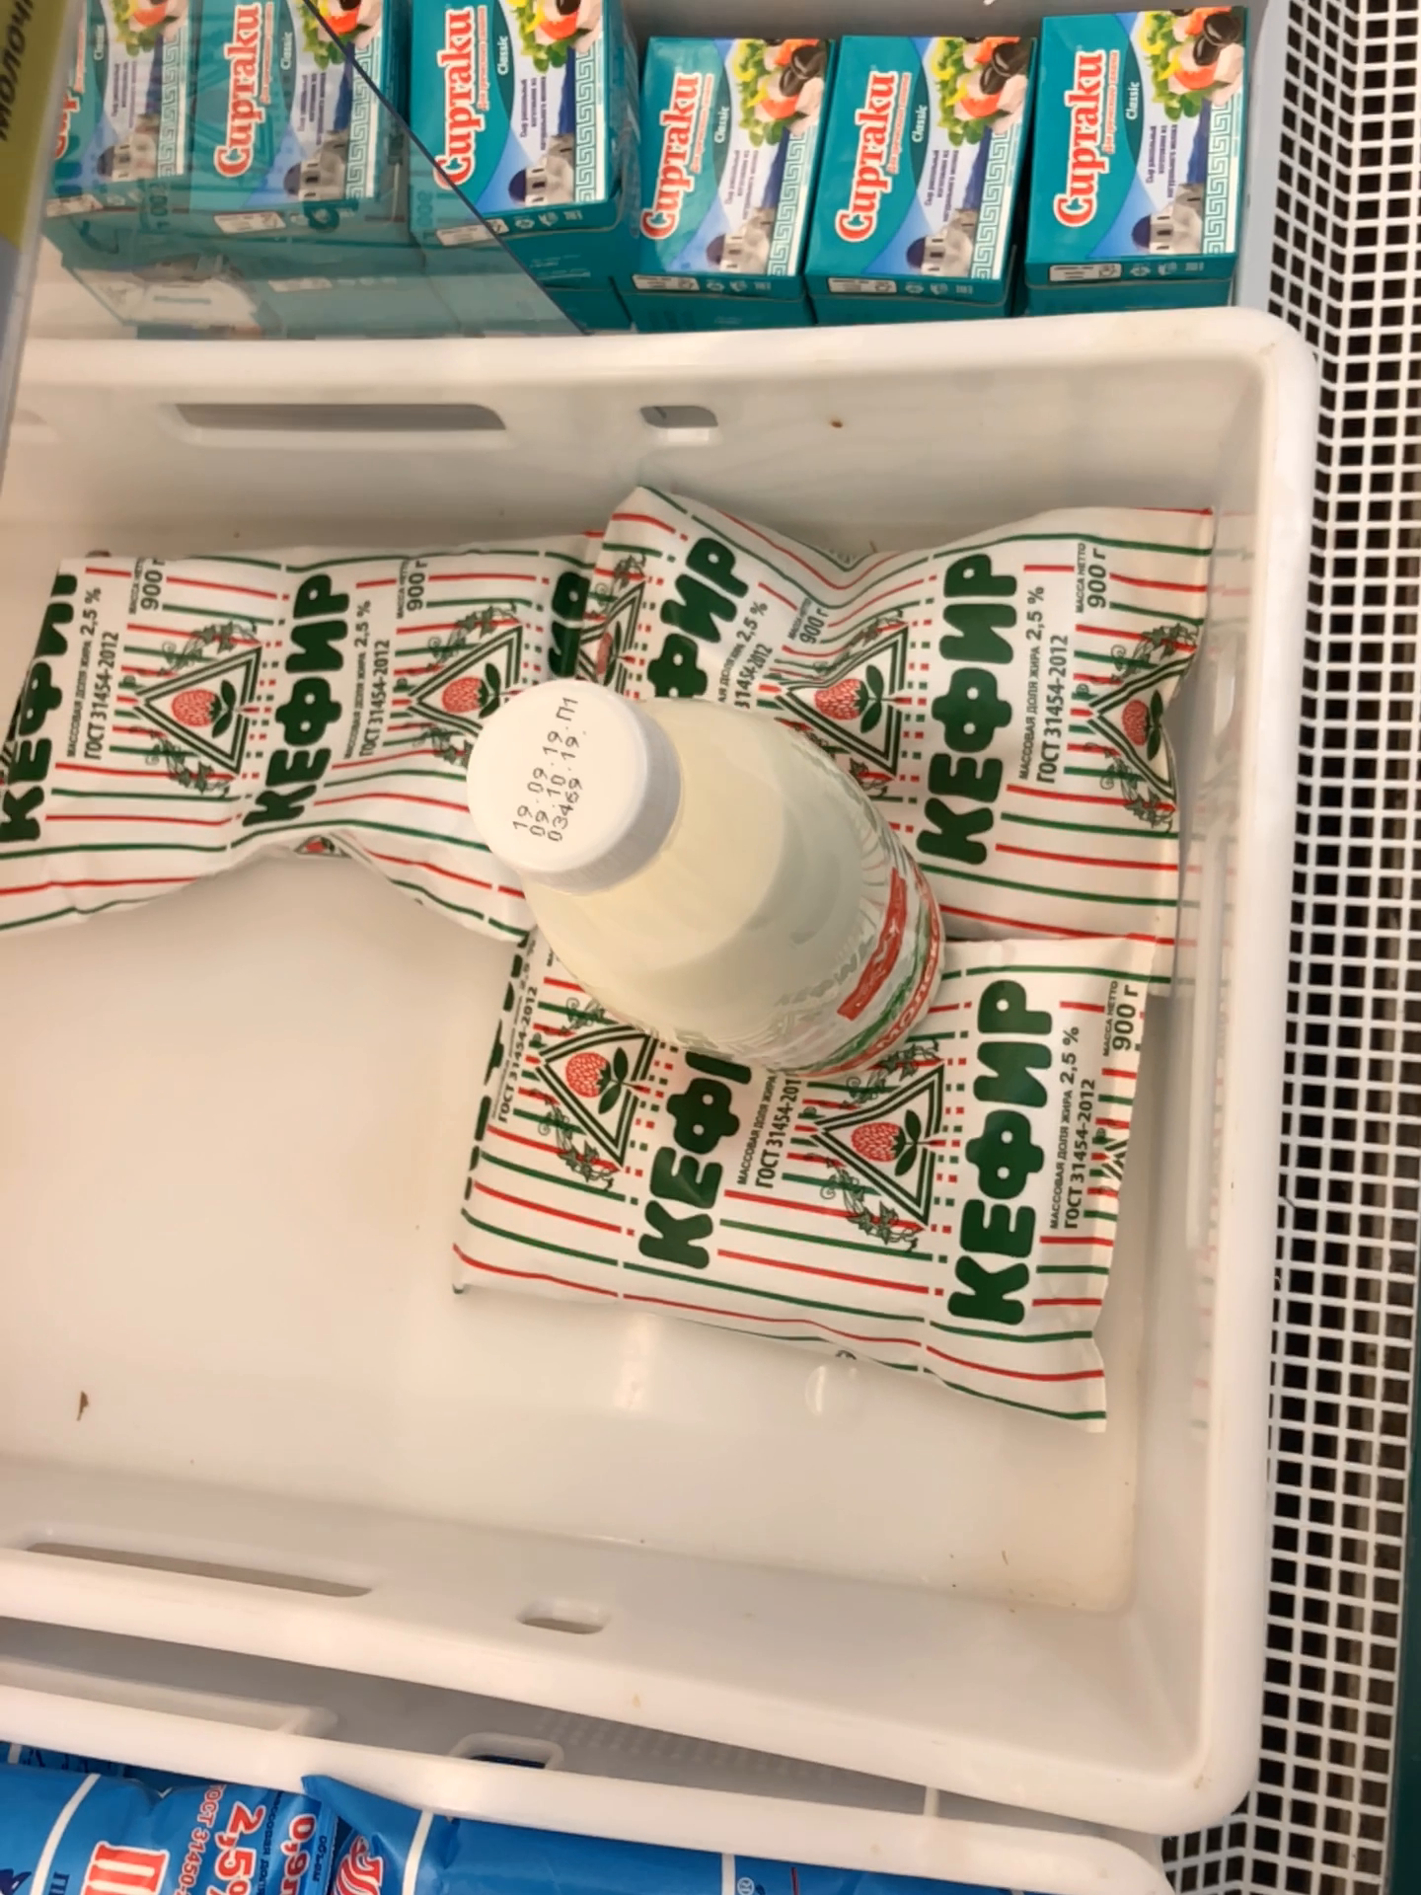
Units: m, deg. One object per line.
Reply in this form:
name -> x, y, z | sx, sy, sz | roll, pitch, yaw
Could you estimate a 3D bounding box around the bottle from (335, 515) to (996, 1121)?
bottle -> 0.008, -0.016, 0.400 | 0.085, 0.217, 0.085 | -3, 80, 16
